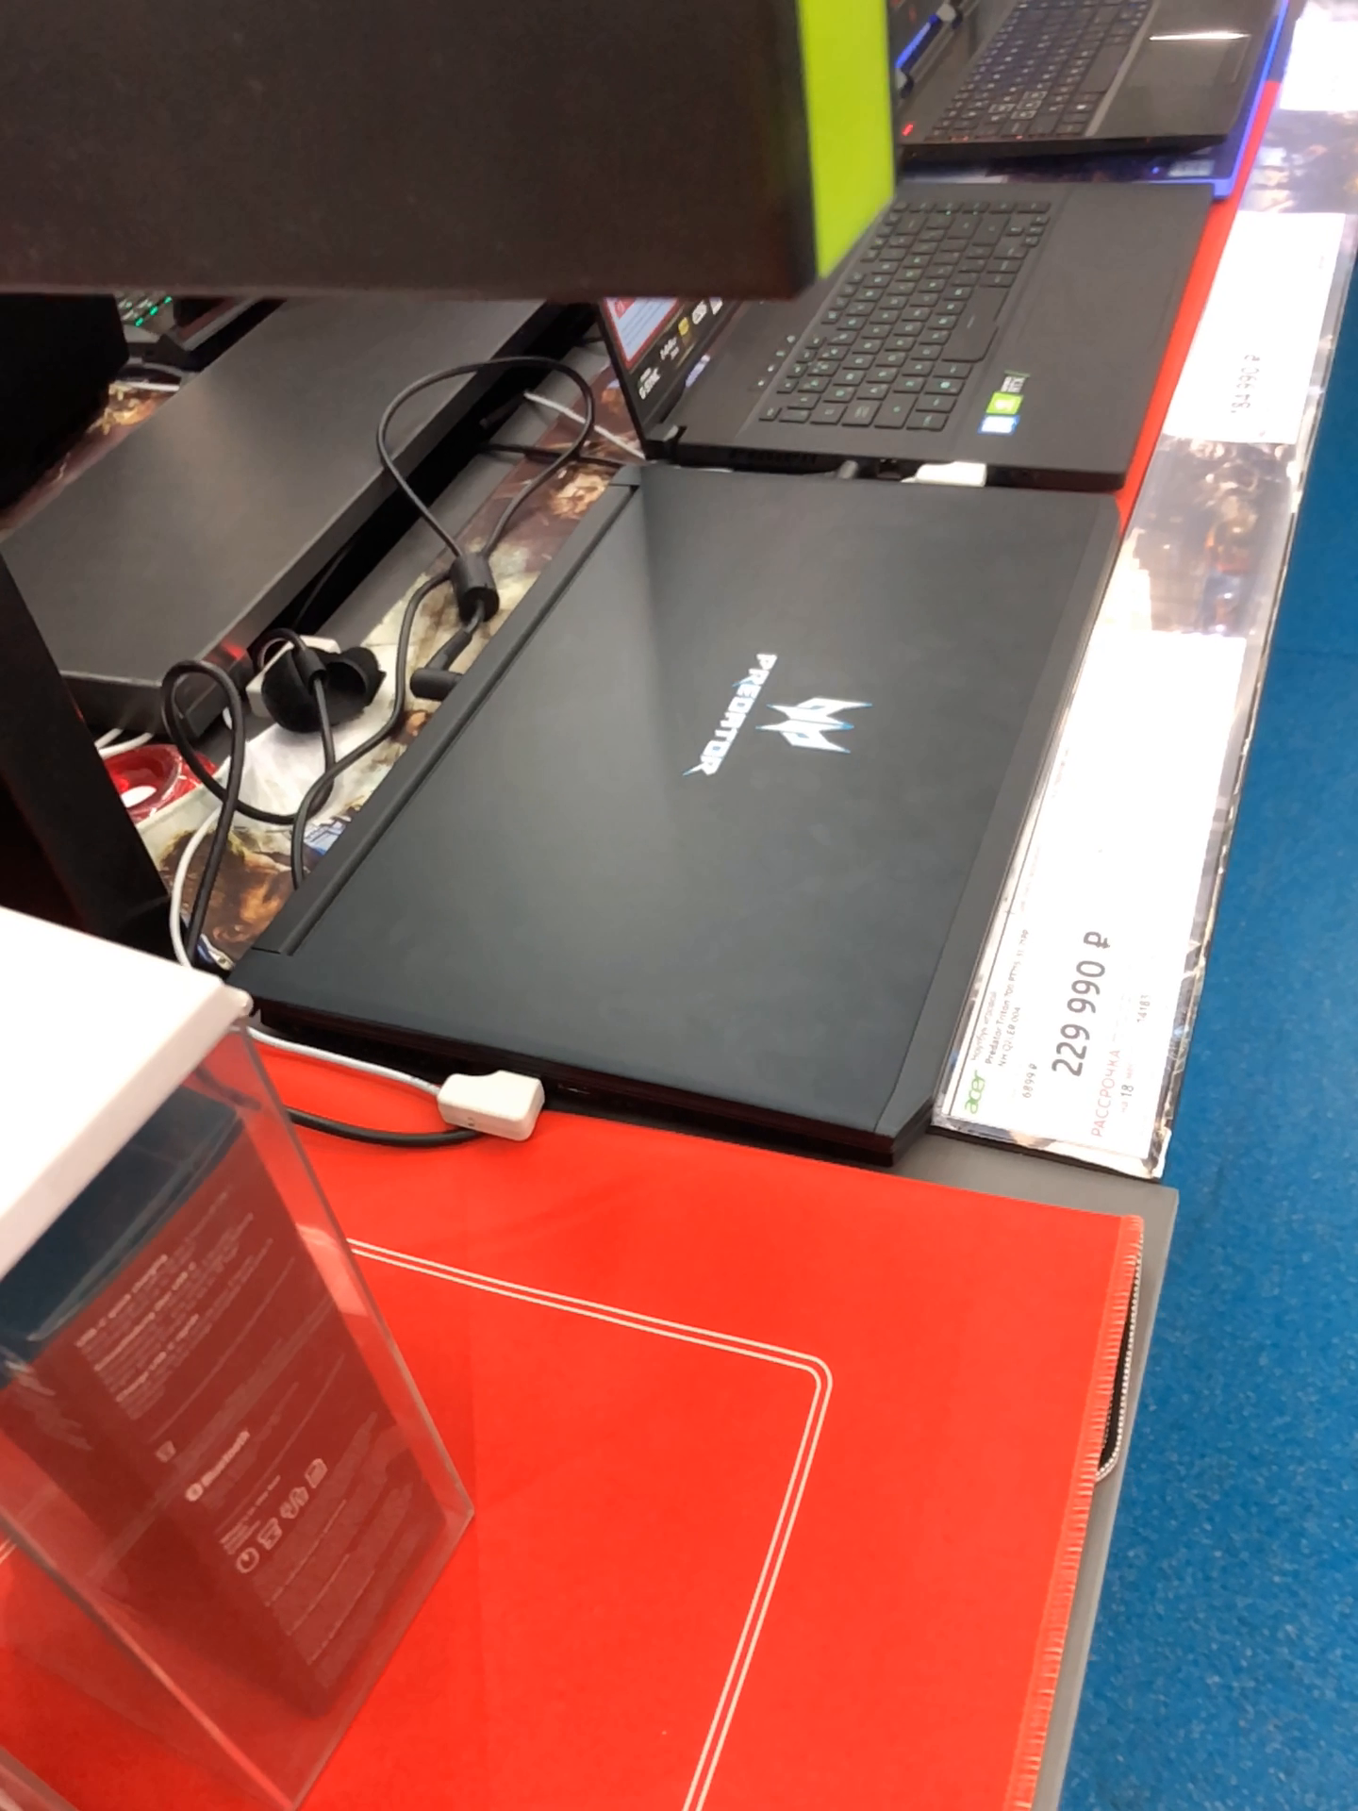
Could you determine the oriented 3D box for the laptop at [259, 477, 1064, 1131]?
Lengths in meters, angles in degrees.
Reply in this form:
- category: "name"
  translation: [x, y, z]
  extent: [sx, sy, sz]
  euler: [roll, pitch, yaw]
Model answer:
- category: "laptop"
  translation: [0.014, -0.074, 0.609]
  extent: [0.221, 0.006, 0.355]
  euler: [9, 48, 20]
